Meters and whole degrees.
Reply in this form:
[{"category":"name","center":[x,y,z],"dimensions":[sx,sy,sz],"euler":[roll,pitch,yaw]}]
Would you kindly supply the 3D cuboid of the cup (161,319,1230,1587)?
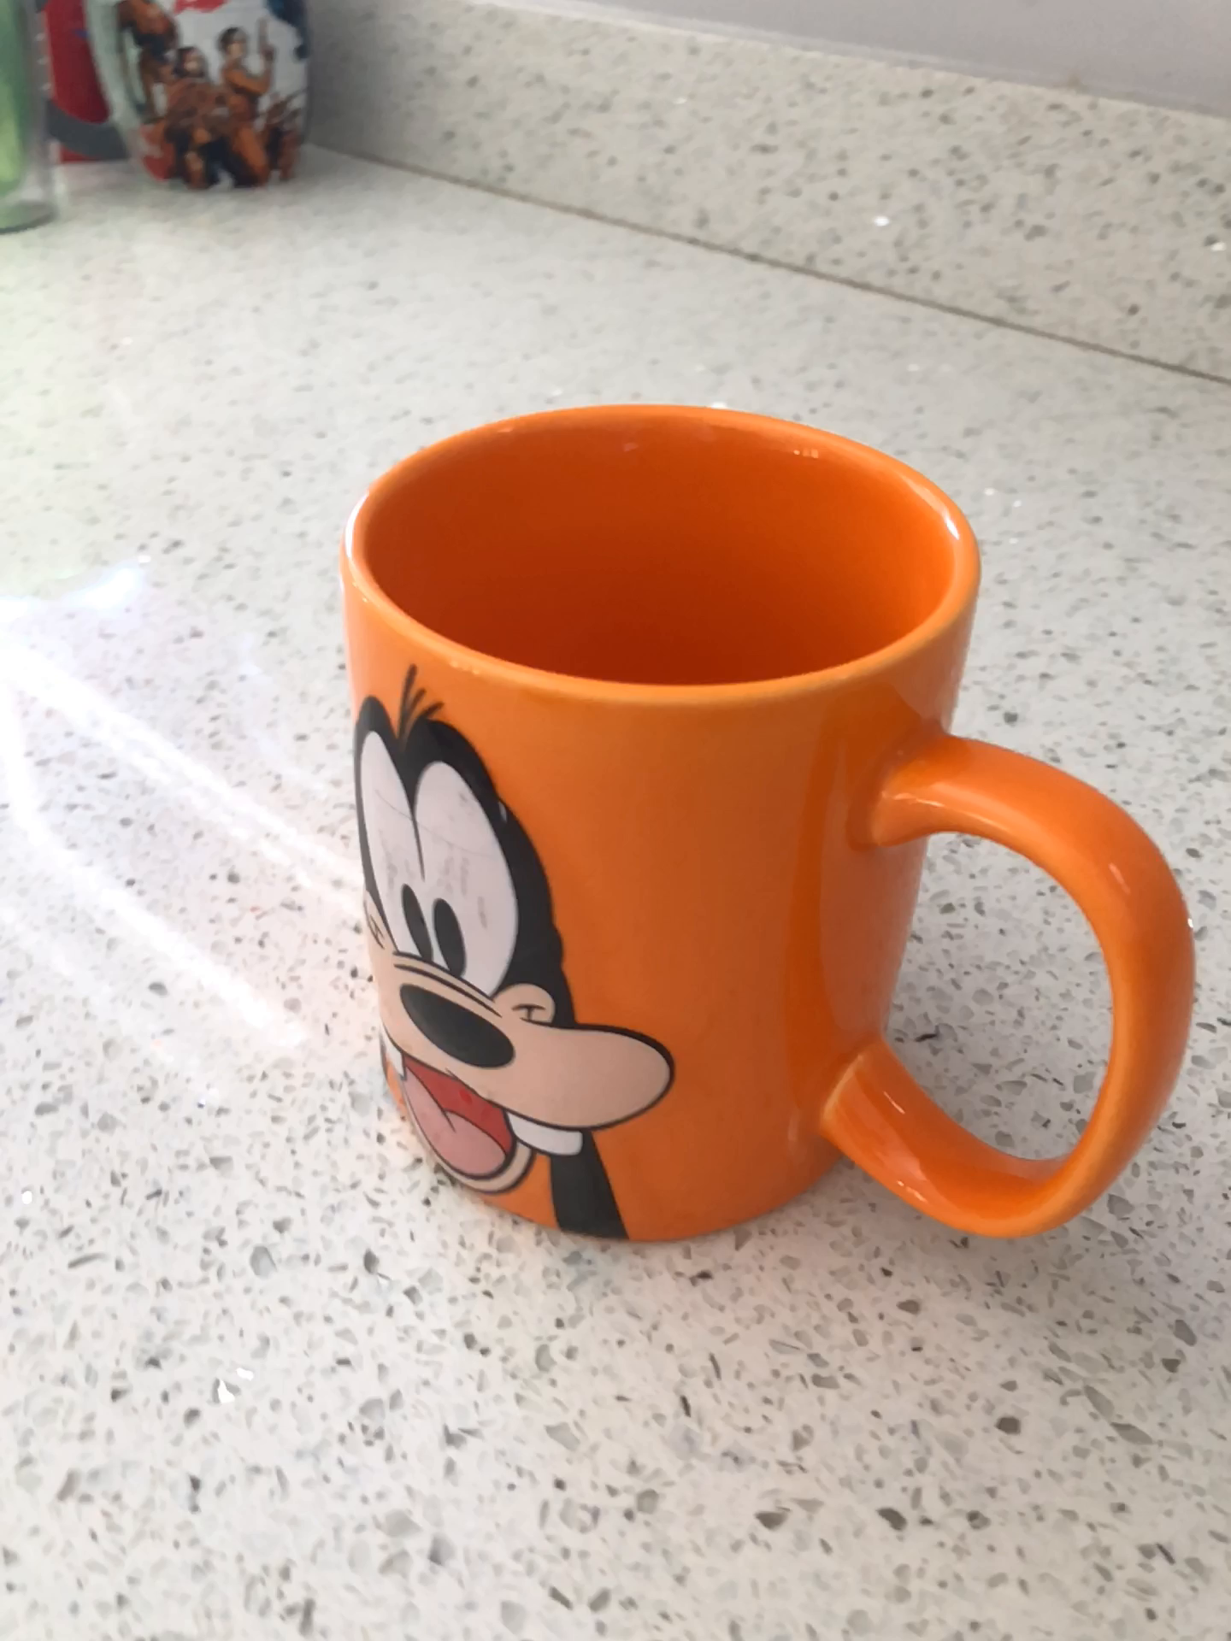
[{"category":"cup","center":[0.019,0.004,0.197],"dimensions":[0.130,0.101,0.090],"euler":[31,46,33]}]
